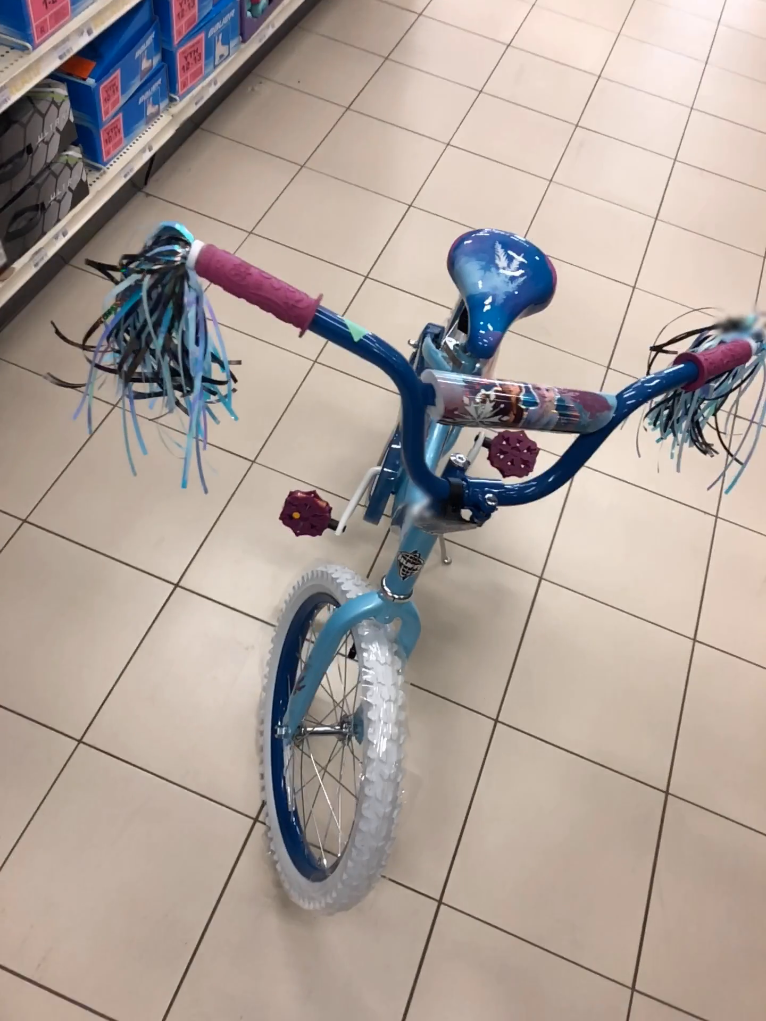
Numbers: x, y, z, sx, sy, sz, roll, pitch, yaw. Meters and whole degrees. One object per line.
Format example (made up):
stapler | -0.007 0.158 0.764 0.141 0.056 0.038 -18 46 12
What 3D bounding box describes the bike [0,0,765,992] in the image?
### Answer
bike | 0.111 -0.107 1.144 0.640 0.954 1.180 14 53 0
